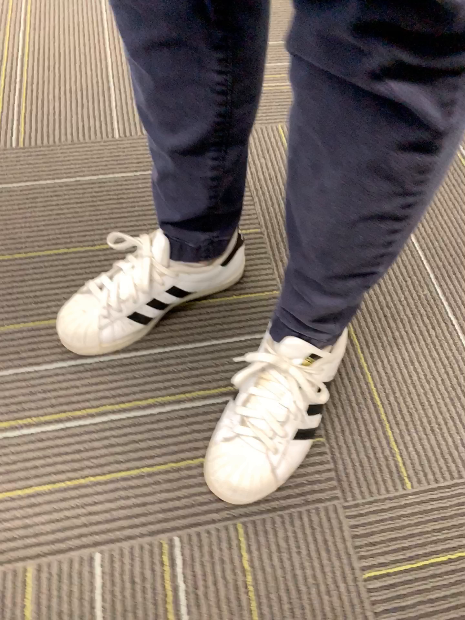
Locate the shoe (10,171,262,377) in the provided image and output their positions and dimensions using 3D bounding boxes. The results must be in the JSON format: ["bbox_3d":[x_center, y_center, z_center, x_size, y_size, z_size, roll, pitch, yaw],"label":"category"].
[{"bbox_3d":[-0.104,-0.049,0.575,0.258,0.104,0.106,-30,64,-21],"label":"shoe"}]

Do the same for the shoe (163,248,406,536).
[{"bbox_3d":[0.058,0.075,0.496,0.108,0.104,0.263,32,60,16],"label":"shoe"}]
